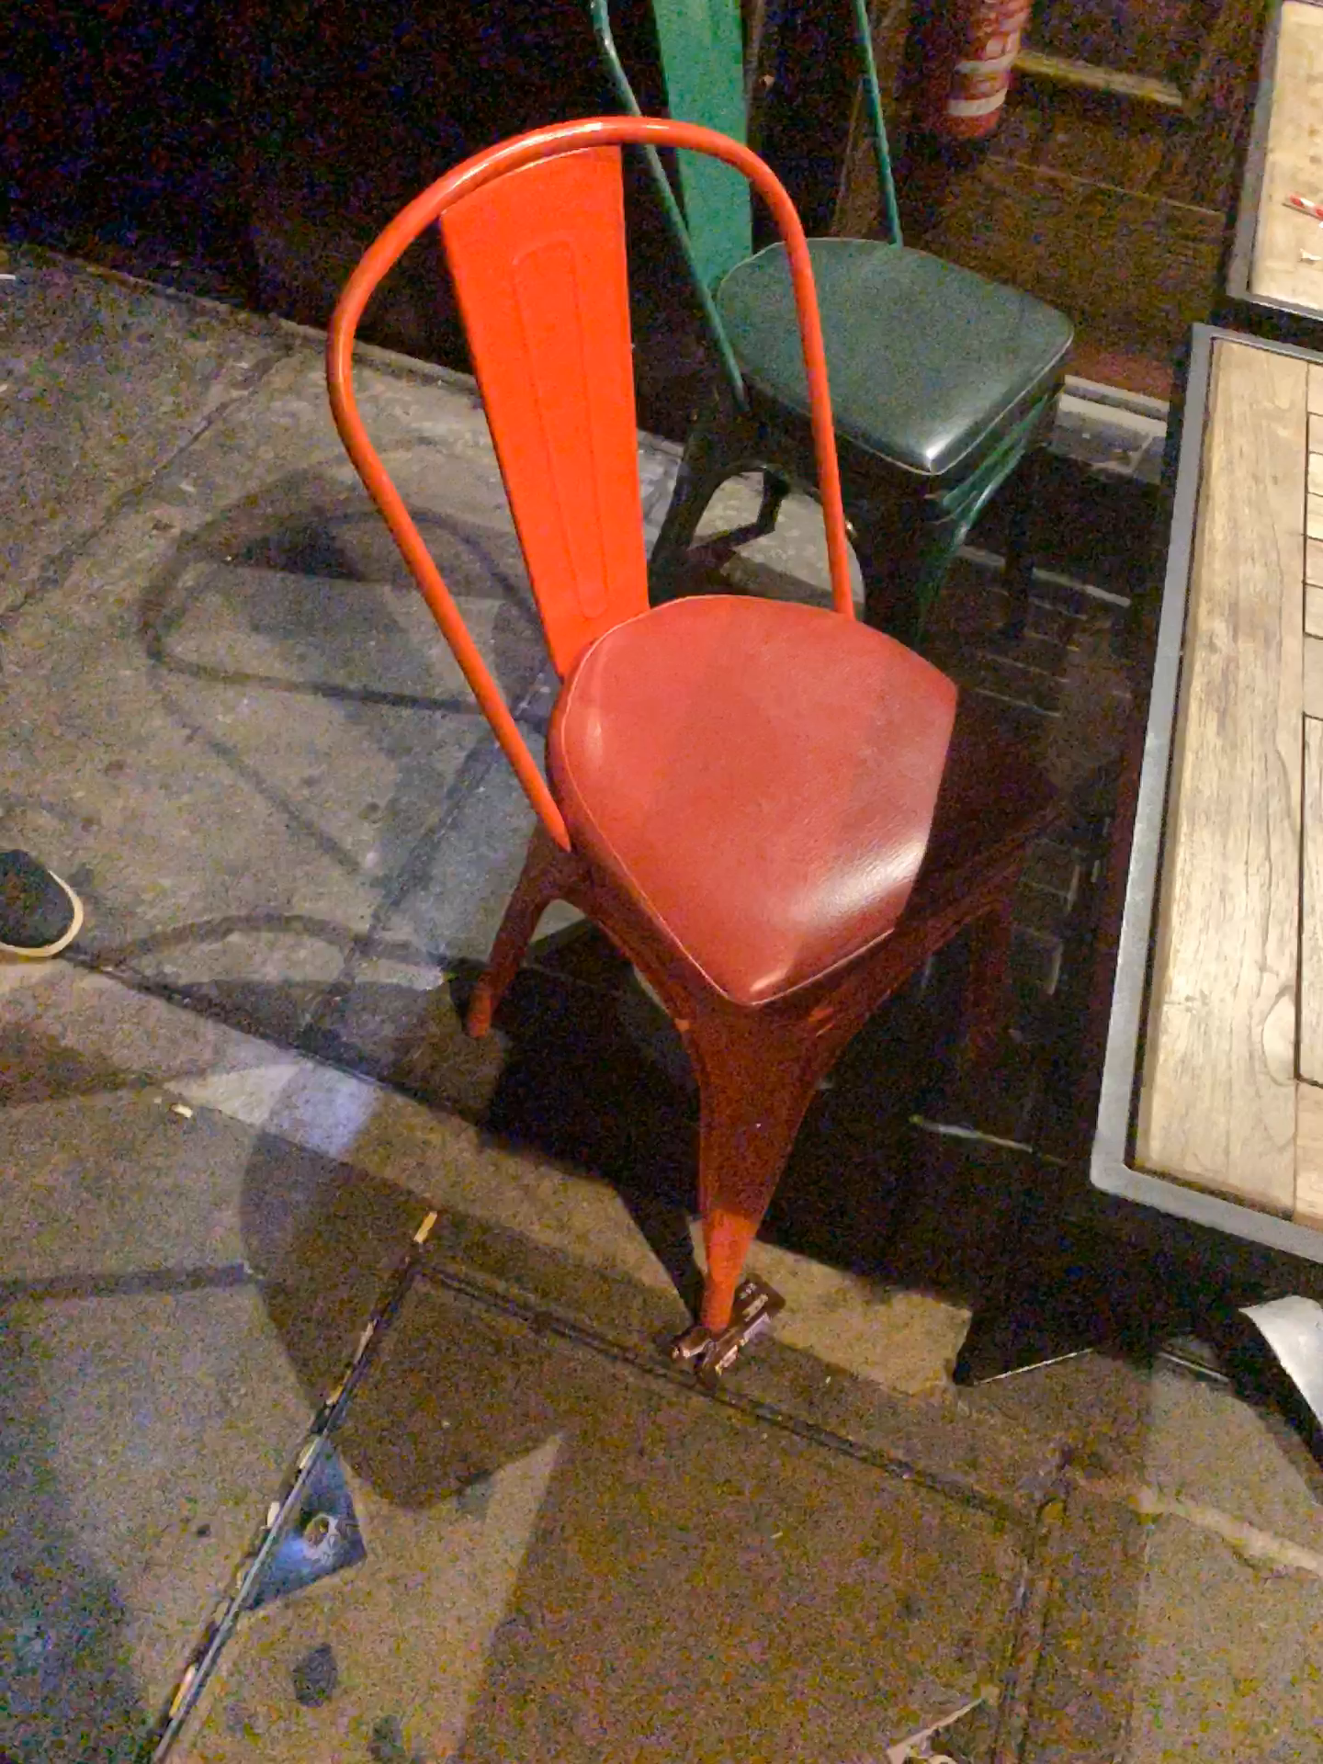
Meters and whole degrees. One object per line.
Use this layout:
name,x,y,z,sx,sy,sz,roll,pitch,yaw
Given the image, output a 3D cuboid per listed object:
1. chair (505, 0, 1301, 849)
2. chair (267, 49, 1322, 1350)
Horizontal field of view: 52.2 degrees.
chair,0.212,-0.556,1.467,0.512,0.833,0.432,35,61,25
chair,0.061,-0.101,1.099,0.432,0.813,0.512,-33,61,-29
